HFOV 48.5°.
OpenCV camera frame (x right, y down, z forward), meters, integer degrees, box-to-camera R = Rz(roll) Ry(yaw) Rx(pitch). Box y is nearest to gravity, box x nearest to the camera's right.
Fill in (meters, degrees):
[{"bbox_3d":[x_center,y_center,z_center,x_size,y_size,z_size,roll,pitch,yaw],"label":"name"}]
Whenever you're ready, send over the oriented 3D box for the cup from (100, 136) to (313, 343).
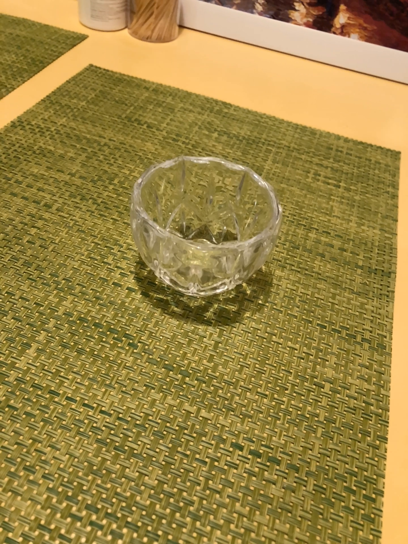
[{"bbox_3d":[0.002,-0.021,0.232,0.071,0.045,0.080,29,48,17],"label":"cup"}]
